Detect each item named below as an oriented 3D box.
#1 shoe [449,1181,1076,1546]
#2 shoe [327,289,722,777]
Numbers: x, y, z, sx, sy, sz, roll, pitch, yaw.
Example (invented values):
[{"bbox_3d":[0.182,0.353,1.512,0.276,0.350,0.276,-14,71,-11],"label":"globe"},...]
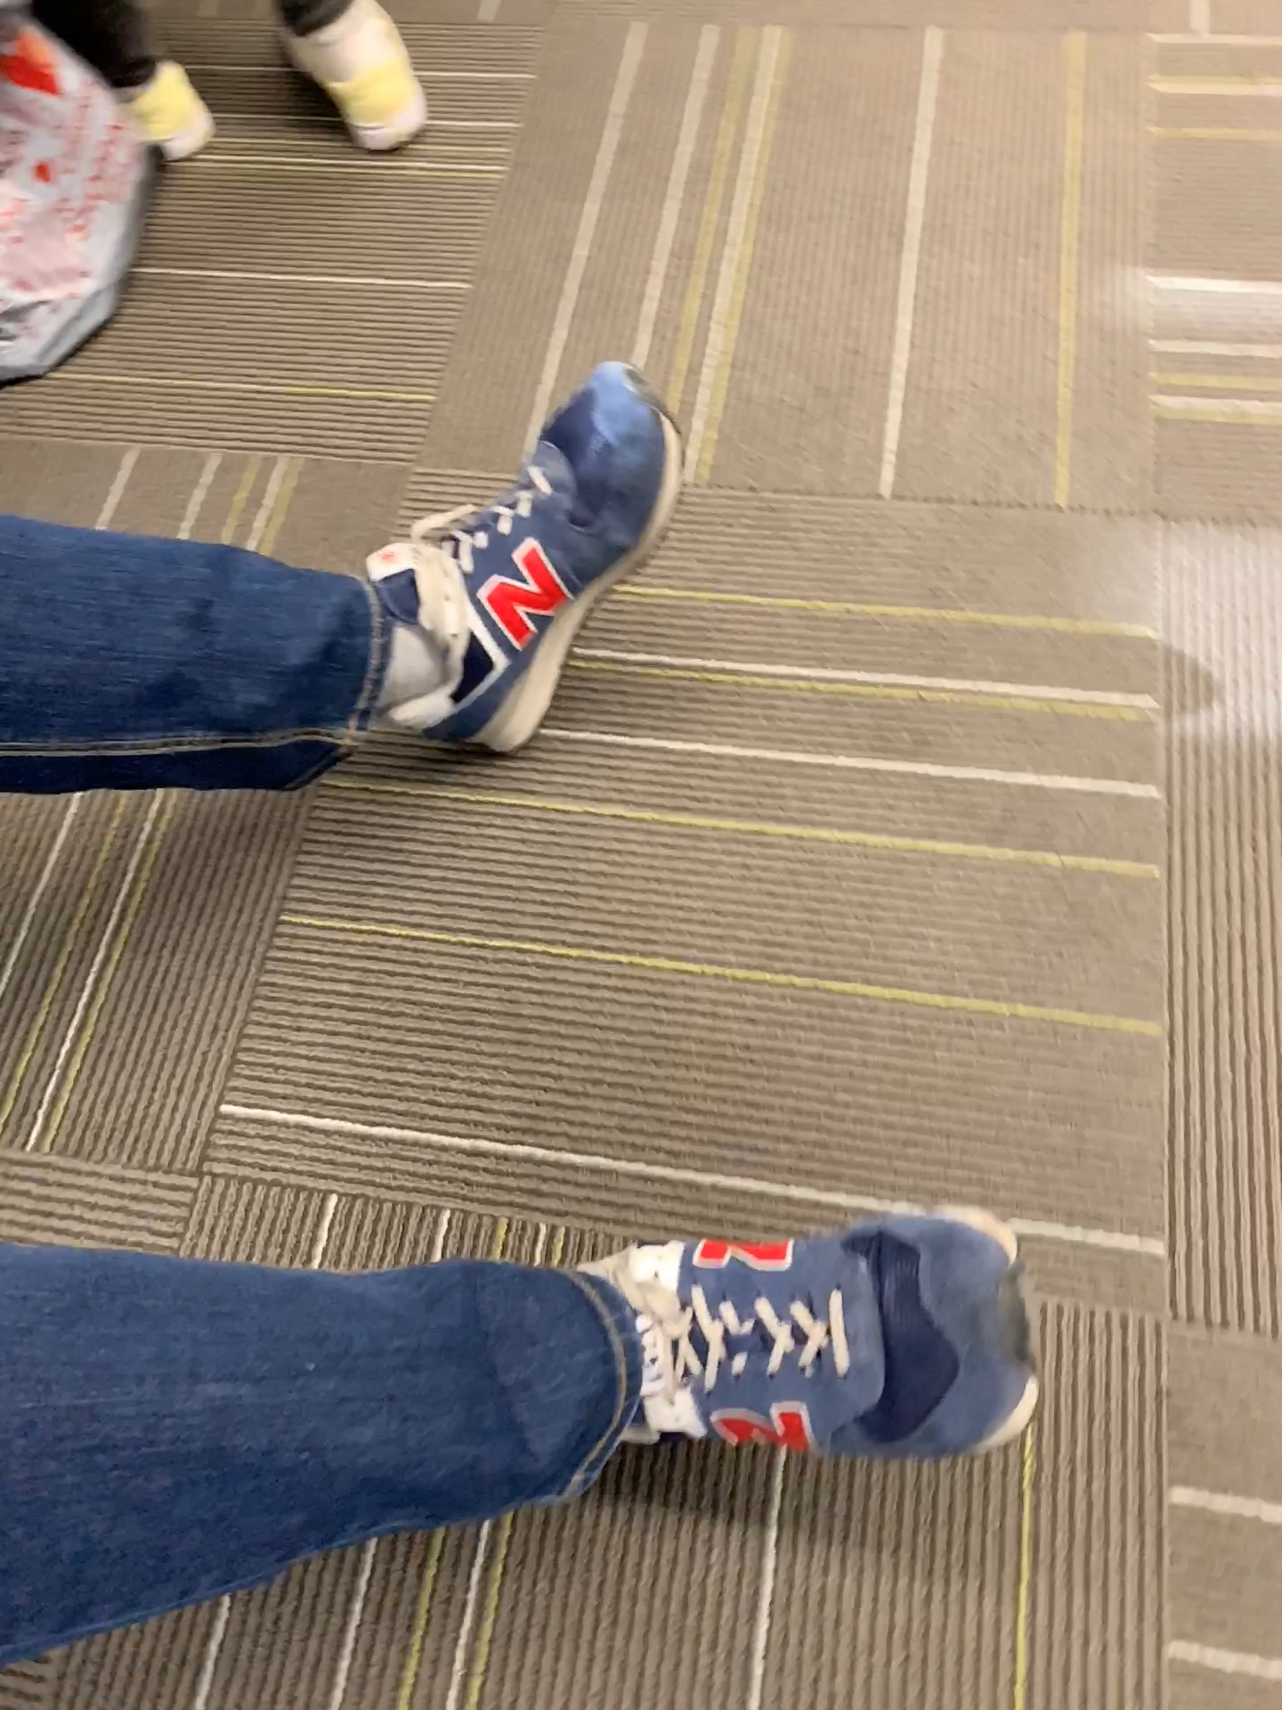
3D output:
[{"bbox_3d":[0.042,0.253,0.667,0.135,0.297,0.120,2,71,-38],"label":"shoe"},{"bbox_3d":[-0.089,-0.196,0.868,0.096,0.302,0.115,-5,54,-43],"label":"shoe"}]
